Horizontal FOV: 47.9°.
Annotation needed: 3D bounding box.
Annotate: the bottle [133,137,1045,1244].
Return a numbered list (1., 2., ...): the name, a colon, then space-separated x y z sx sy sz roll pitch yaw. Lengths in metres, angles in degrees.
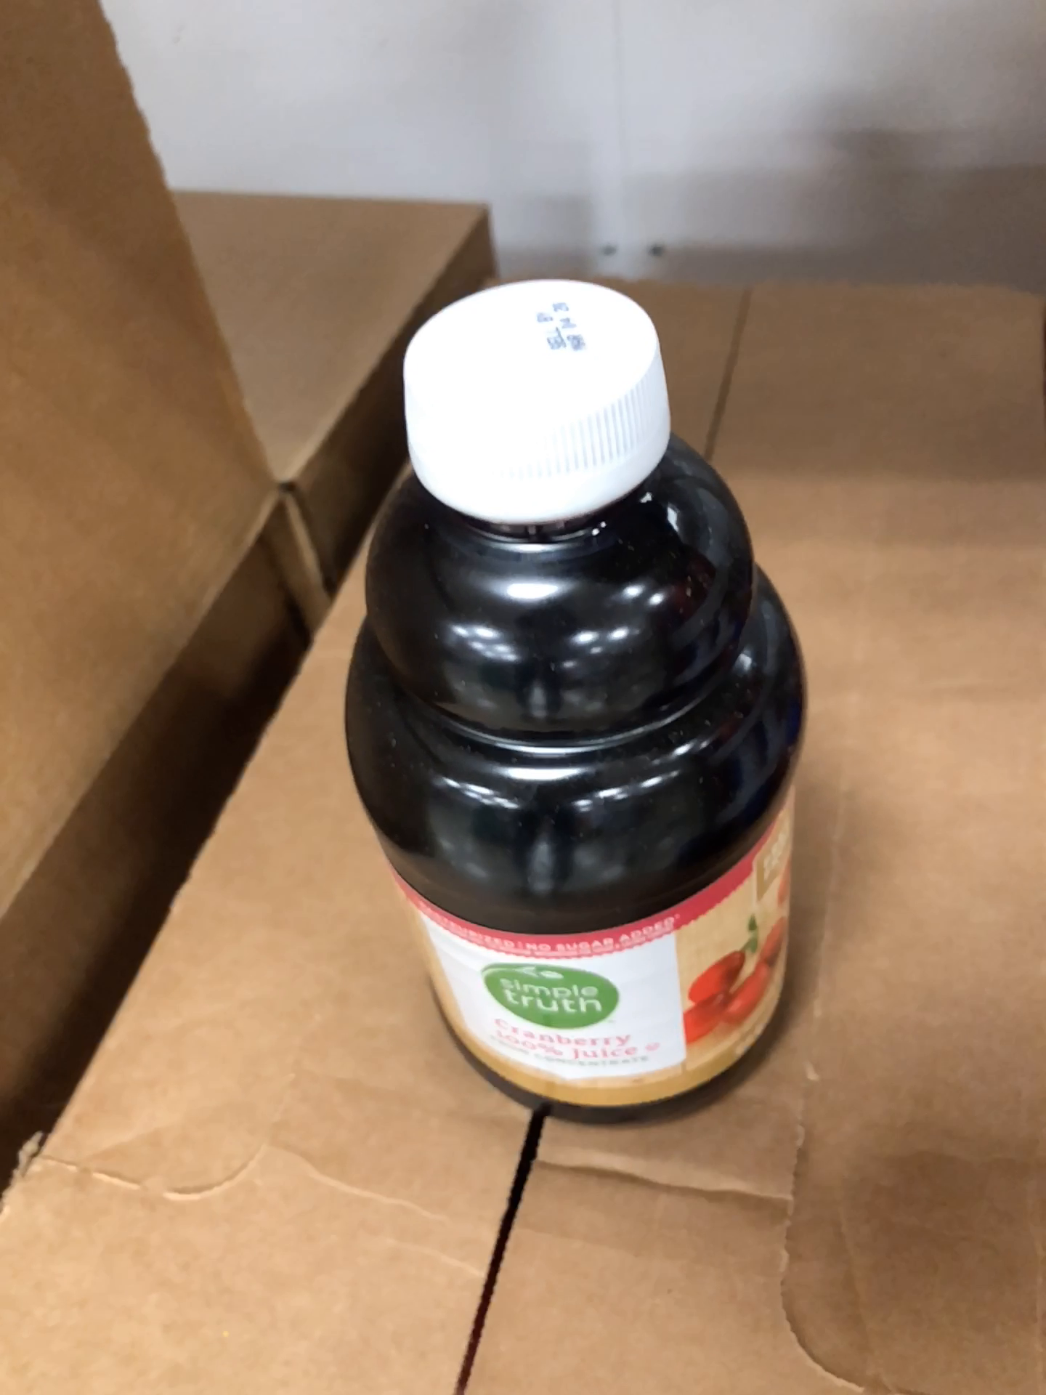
1. bottle: 0.018 0.012 0.258 0.110 0.200 0.100 -5 48 6

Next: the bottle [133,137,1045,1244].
1. bottle: 0.018 0.012 0.258 0.110 0.200 0.100 -5 48 6
